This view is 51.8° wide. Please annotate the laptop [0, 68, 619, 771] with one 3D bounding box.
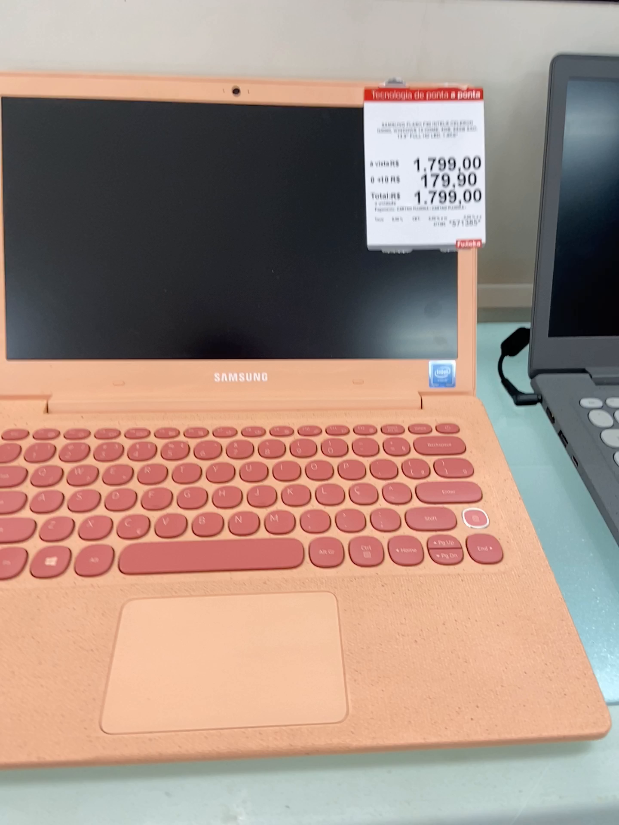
[{"bbox_3d":[-0.039,-0.045,0.342,0.329,0.160,0.361,-1,42,-3],"label":"laptop"}]
